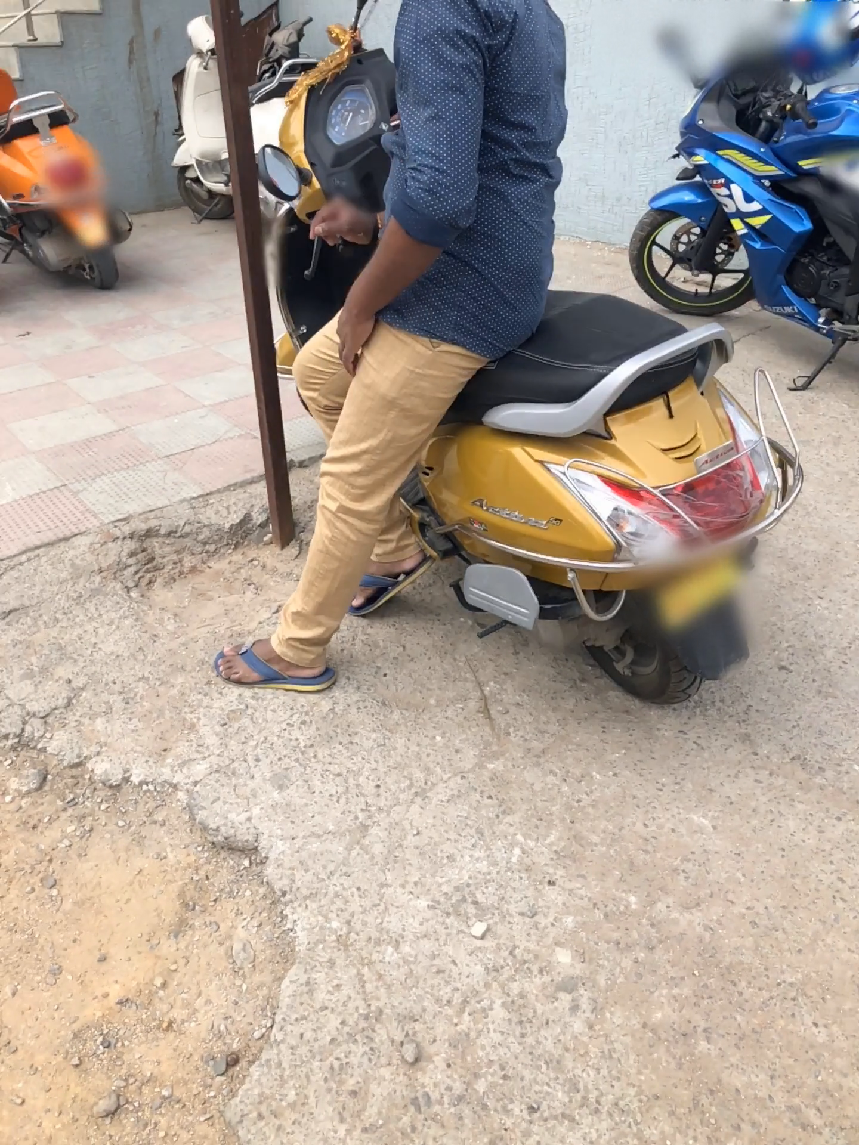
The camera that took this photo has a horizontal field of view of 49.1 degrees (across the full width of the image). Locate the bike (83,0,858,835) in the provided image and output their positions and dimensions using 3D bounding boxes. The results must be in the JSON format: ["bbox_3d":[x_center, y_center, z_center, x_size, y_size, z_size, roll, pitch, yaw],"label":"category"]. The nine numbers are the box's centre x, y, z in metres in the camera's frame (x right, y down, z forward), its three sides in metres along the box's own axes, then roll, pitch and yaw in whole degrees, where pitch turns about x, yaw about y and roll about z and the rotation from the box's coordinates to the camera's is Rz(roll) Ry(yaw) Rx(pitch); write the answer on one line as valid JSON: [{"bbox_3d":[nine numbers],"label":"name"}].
[{"bbox_3d":[-0.066,-0.508,1.966,0.587,1.153,1.530,-19,37,-30],"label":"bike"}]
